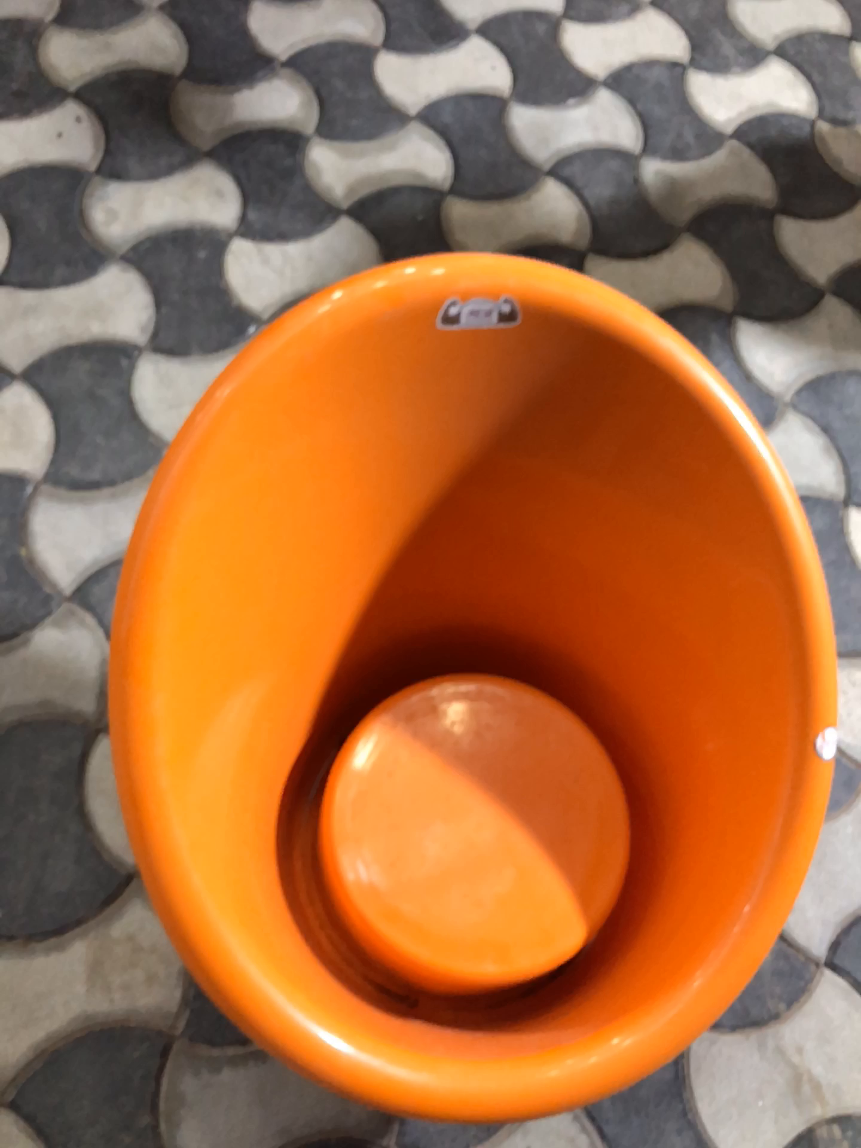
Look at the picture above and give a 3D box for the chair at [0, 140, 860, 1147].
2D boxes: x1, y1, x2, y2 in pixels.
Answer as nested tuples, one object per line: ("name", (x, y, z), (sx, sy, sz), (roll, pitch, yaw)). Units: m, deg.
("chair", (0.032, 0.137, 0.914), (0.661, 0.667, 0.722), (-8, 62, -9))
